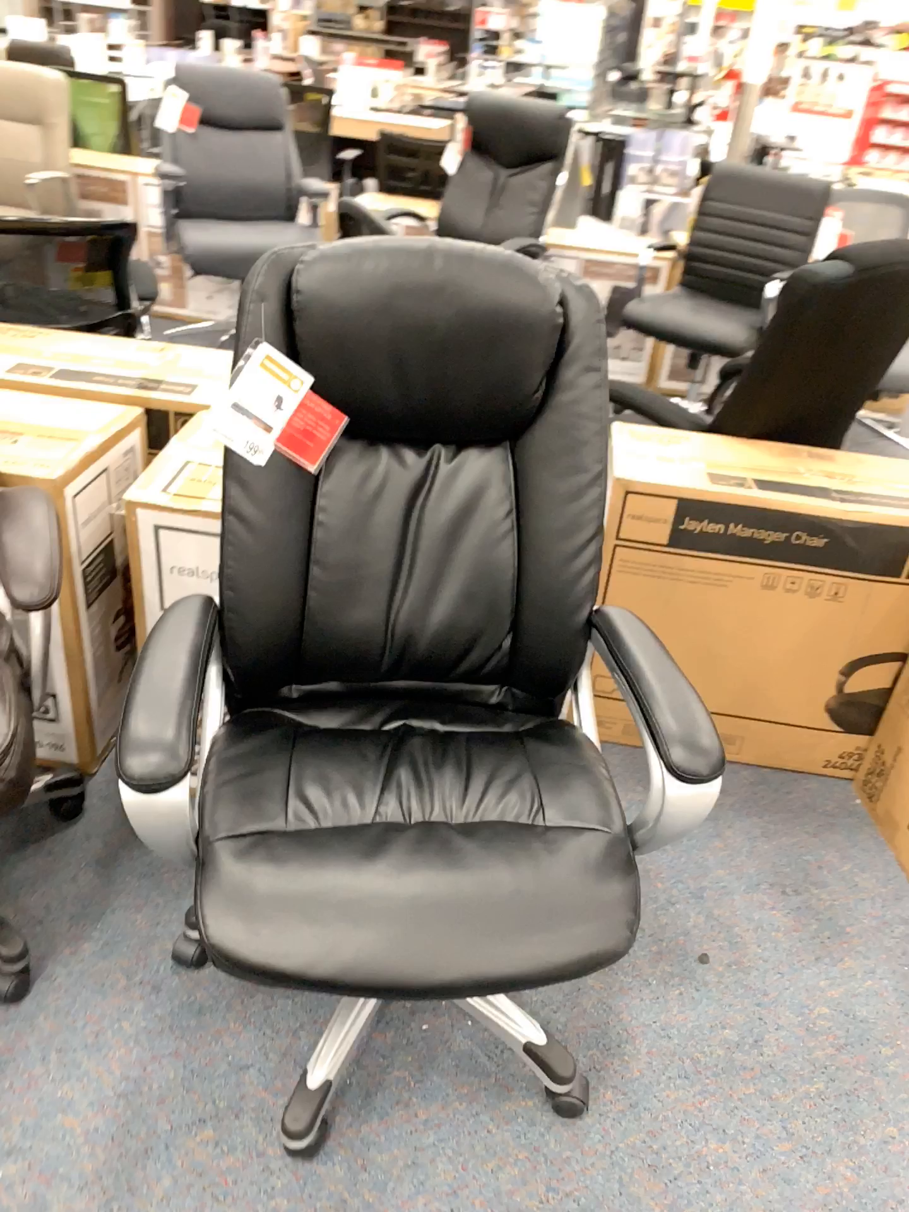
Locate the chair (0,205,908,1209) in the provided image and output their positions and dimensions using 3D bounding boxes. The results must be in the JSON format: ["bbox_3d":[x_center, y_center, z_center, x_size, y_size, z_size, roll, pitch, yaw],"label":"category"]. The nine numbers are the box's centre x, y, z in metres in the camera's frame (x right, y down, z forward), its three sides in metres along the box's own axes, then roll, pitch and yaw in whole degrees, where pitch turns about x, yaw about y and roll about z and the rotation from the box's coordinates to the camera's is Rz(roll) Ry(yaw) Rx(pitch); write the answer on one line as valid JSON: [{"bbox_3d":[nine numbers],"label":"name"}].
[{"bbox_3d":[-0.078,0.131,1.211,0.674,1.056,0.660,1,32,-9],"label":"chair"}]

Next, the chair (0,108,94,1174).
[{"bbox_3d":[-0.949,-0.014,1.263,0.754,1.046,0.791,-5,33,-19],"label":"chair"}]

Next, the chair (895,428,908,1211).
[{"bbox_3d":[1.270,0.364,1.181,0.837,0.926,0.667,2,32,-7],"label":"chair"}]
